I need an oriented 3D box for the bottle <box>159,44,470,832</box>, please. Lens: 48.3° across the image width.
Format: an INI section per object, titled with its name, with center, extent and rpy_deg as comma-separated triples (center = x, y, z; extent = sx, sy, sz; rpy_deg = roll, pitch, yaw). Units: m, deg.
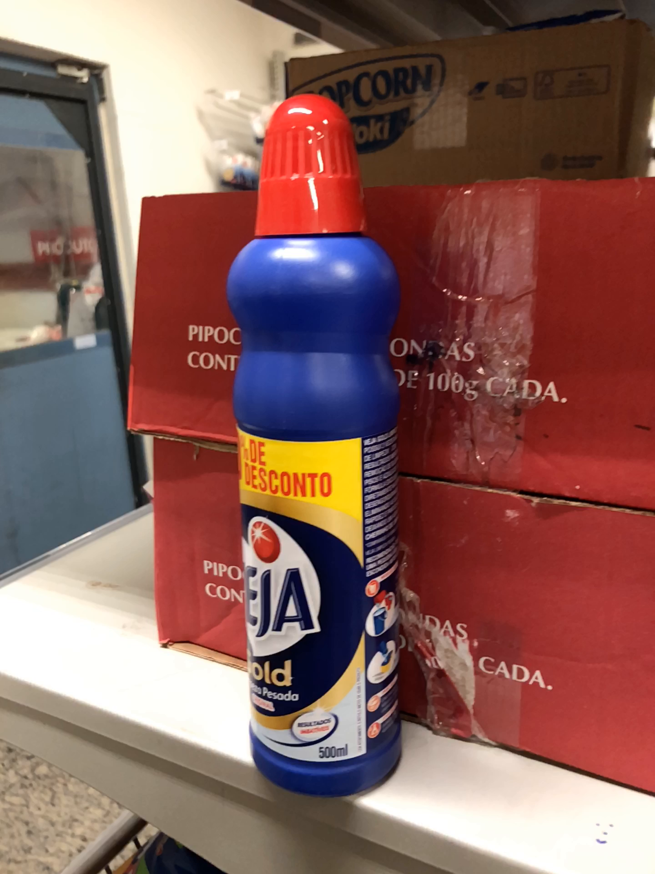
[bottle]
center = 0.001, 0.003, 0.272
extent = 0.070, 0.249, 0.070
rpy_deg = -4, 13, 1
